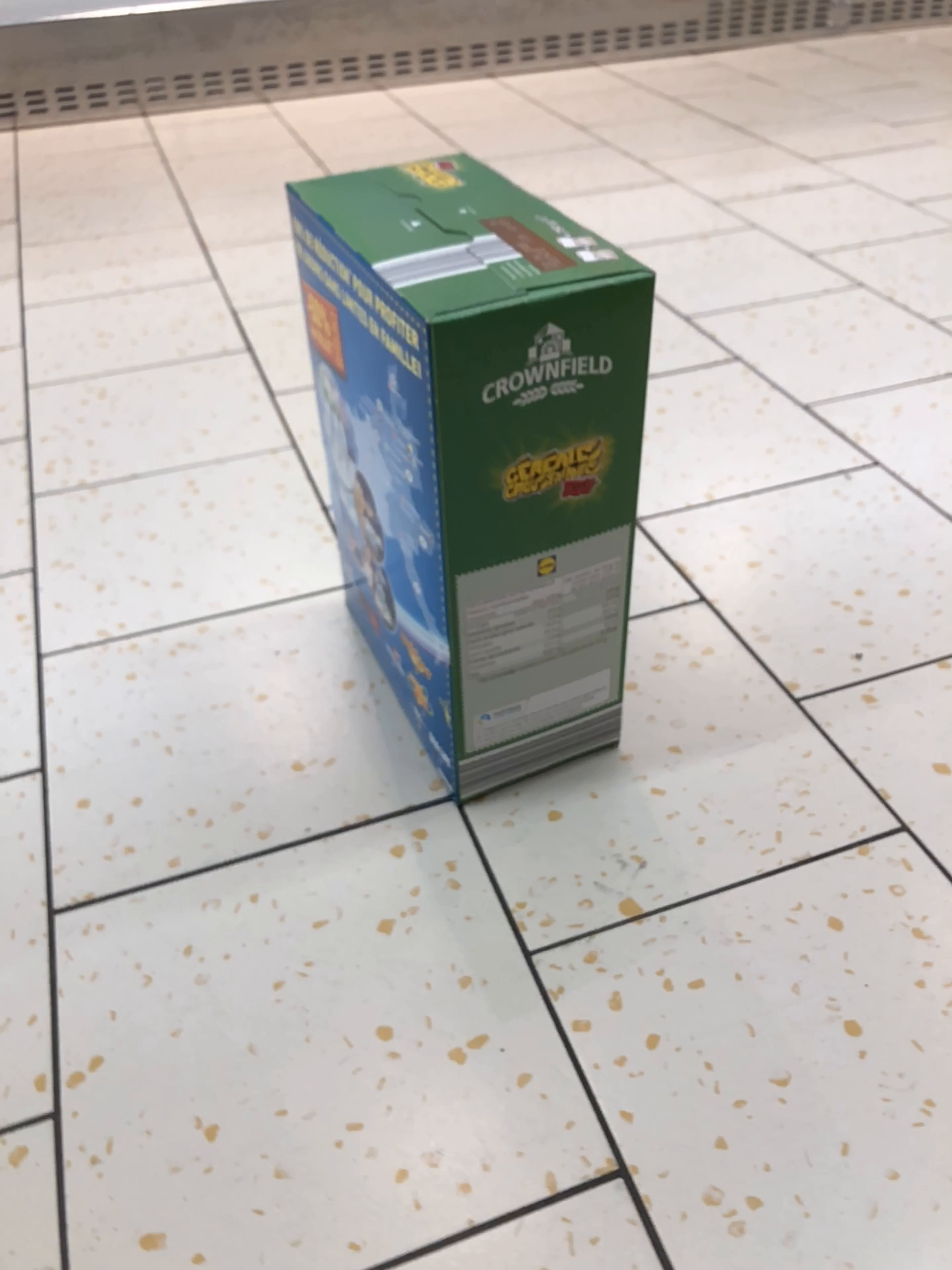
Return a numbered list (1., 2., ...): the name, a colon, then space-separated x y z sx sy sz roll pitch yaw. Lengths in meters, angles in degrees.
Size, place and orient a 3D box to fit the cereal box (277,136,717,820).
1. cereal box: 0.001 -0.084 0.536 0.110 0.258 0.211 -17 40 -18
